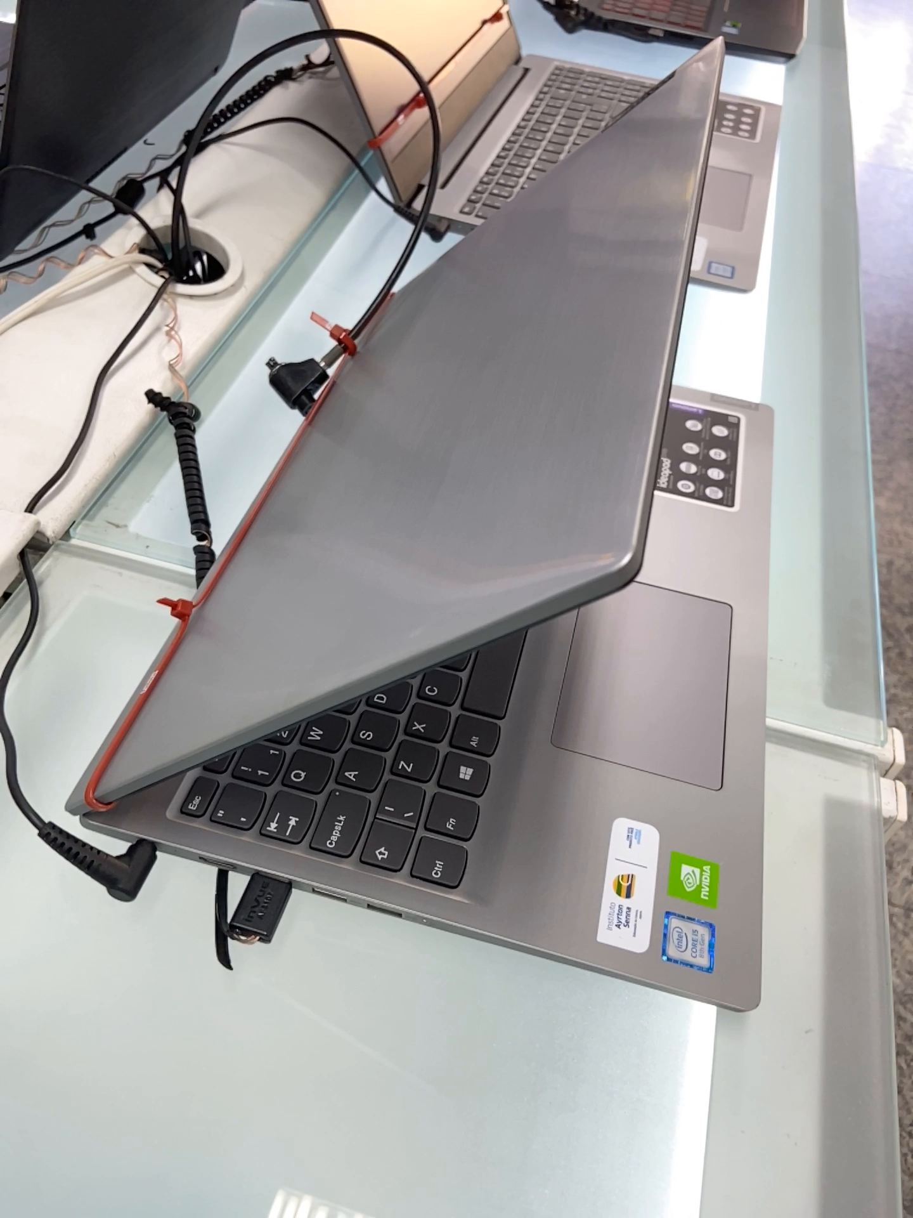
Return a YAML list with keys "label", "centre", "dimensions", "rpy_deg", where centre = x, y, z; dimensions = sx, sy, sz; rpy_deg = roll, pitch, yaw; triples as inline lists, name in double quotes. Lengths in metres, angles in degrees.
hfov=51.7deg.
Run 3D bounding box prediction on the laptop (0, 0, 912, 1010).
- label: "laptop"
  centre: [0.034, -0.080, 0.384]
  dimensions: [0.244, 0.175, 0.361]
  rpy_deg: [14, 48, 6]
